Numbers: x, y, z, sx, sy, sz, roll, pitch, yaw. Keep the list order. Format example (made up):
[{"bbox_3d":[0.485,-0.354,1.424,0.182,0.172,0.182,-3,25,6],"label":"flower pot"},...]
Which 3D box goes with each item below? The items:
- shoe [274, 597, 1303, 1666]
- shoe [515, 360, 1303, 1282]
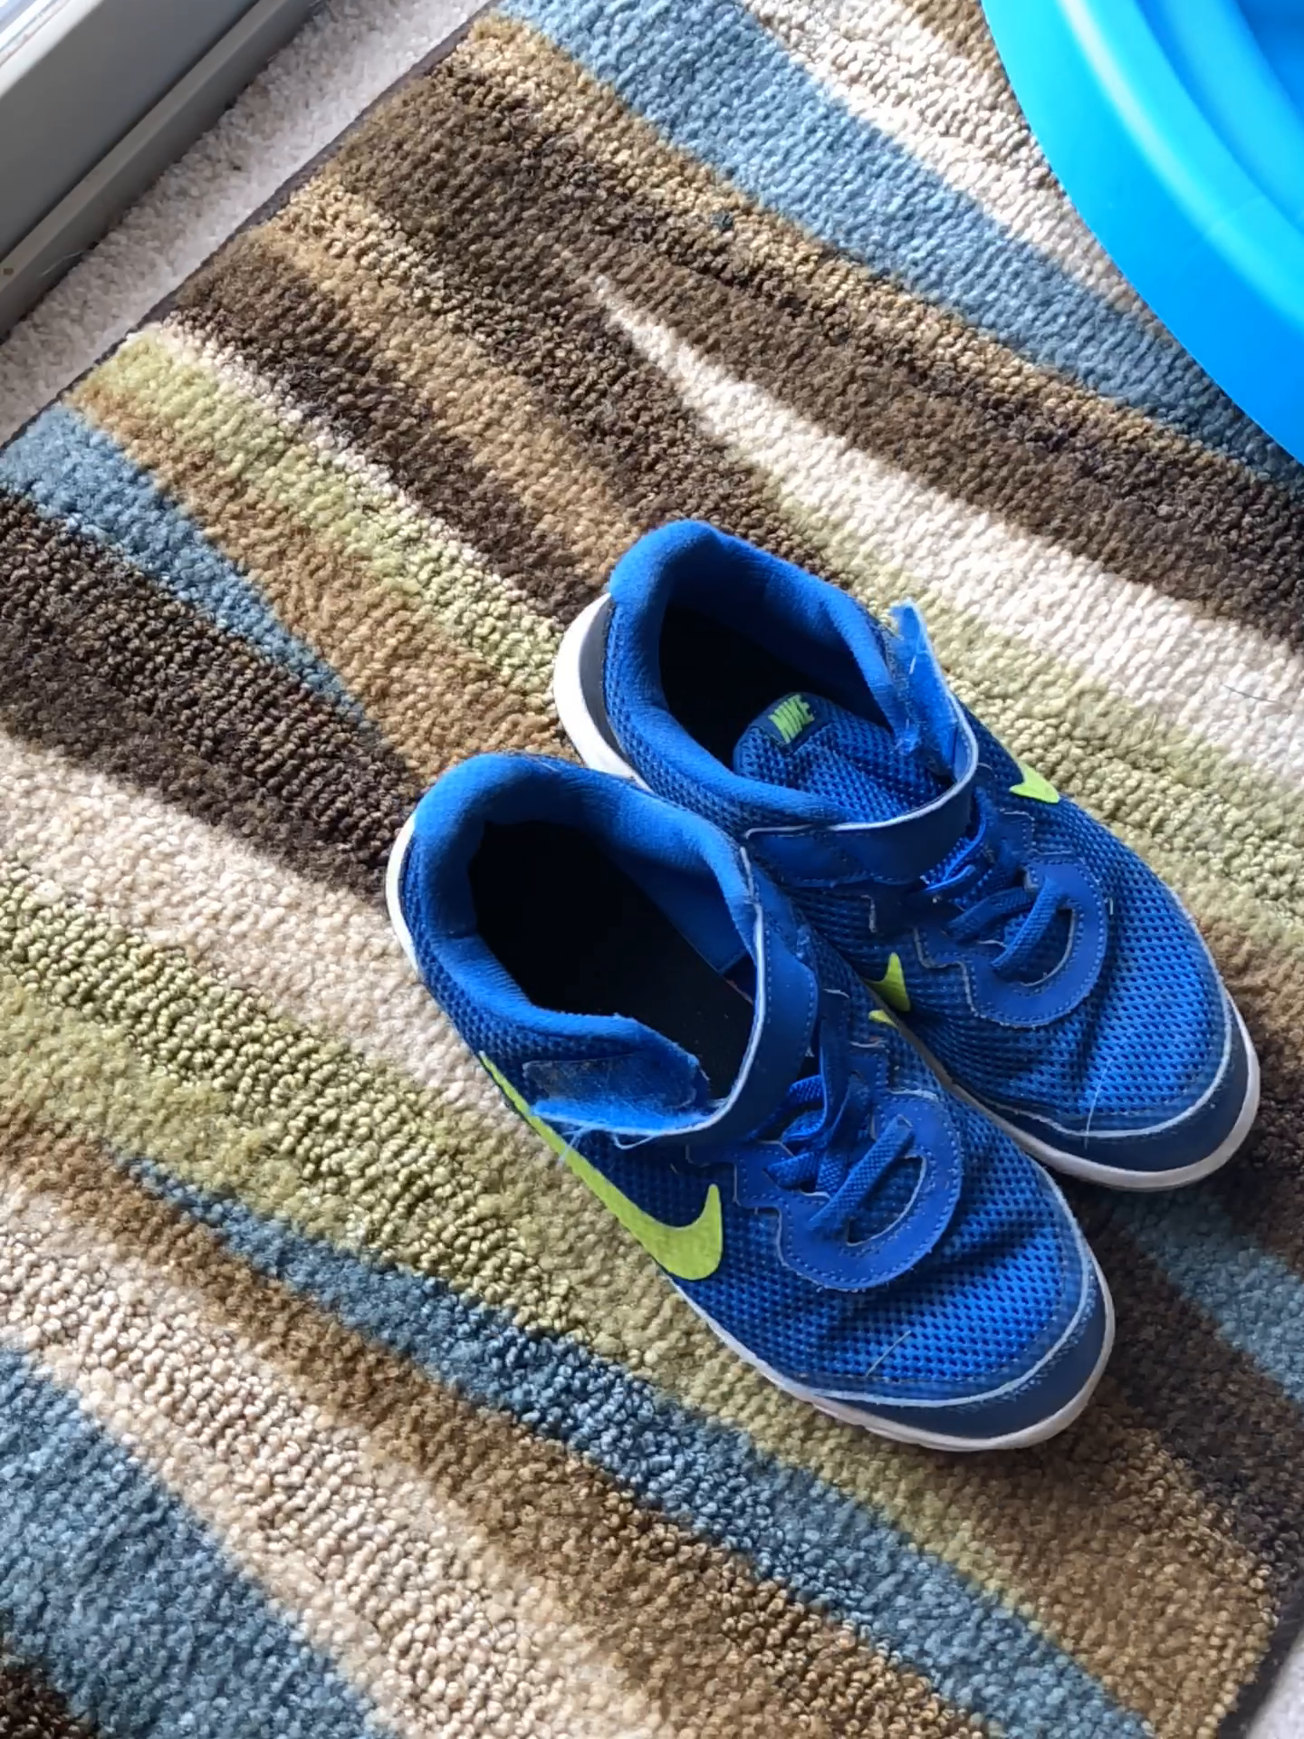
[{"bbox_3d":[0.031,0.058,0.355,0.233,0.075,0.102,43,75,6],"label":"shoe"},{"bbox_3d":[0.086,-0.010,0.379,0.230,0.075,0.103,40,74,5],"label":"shoe"}]
